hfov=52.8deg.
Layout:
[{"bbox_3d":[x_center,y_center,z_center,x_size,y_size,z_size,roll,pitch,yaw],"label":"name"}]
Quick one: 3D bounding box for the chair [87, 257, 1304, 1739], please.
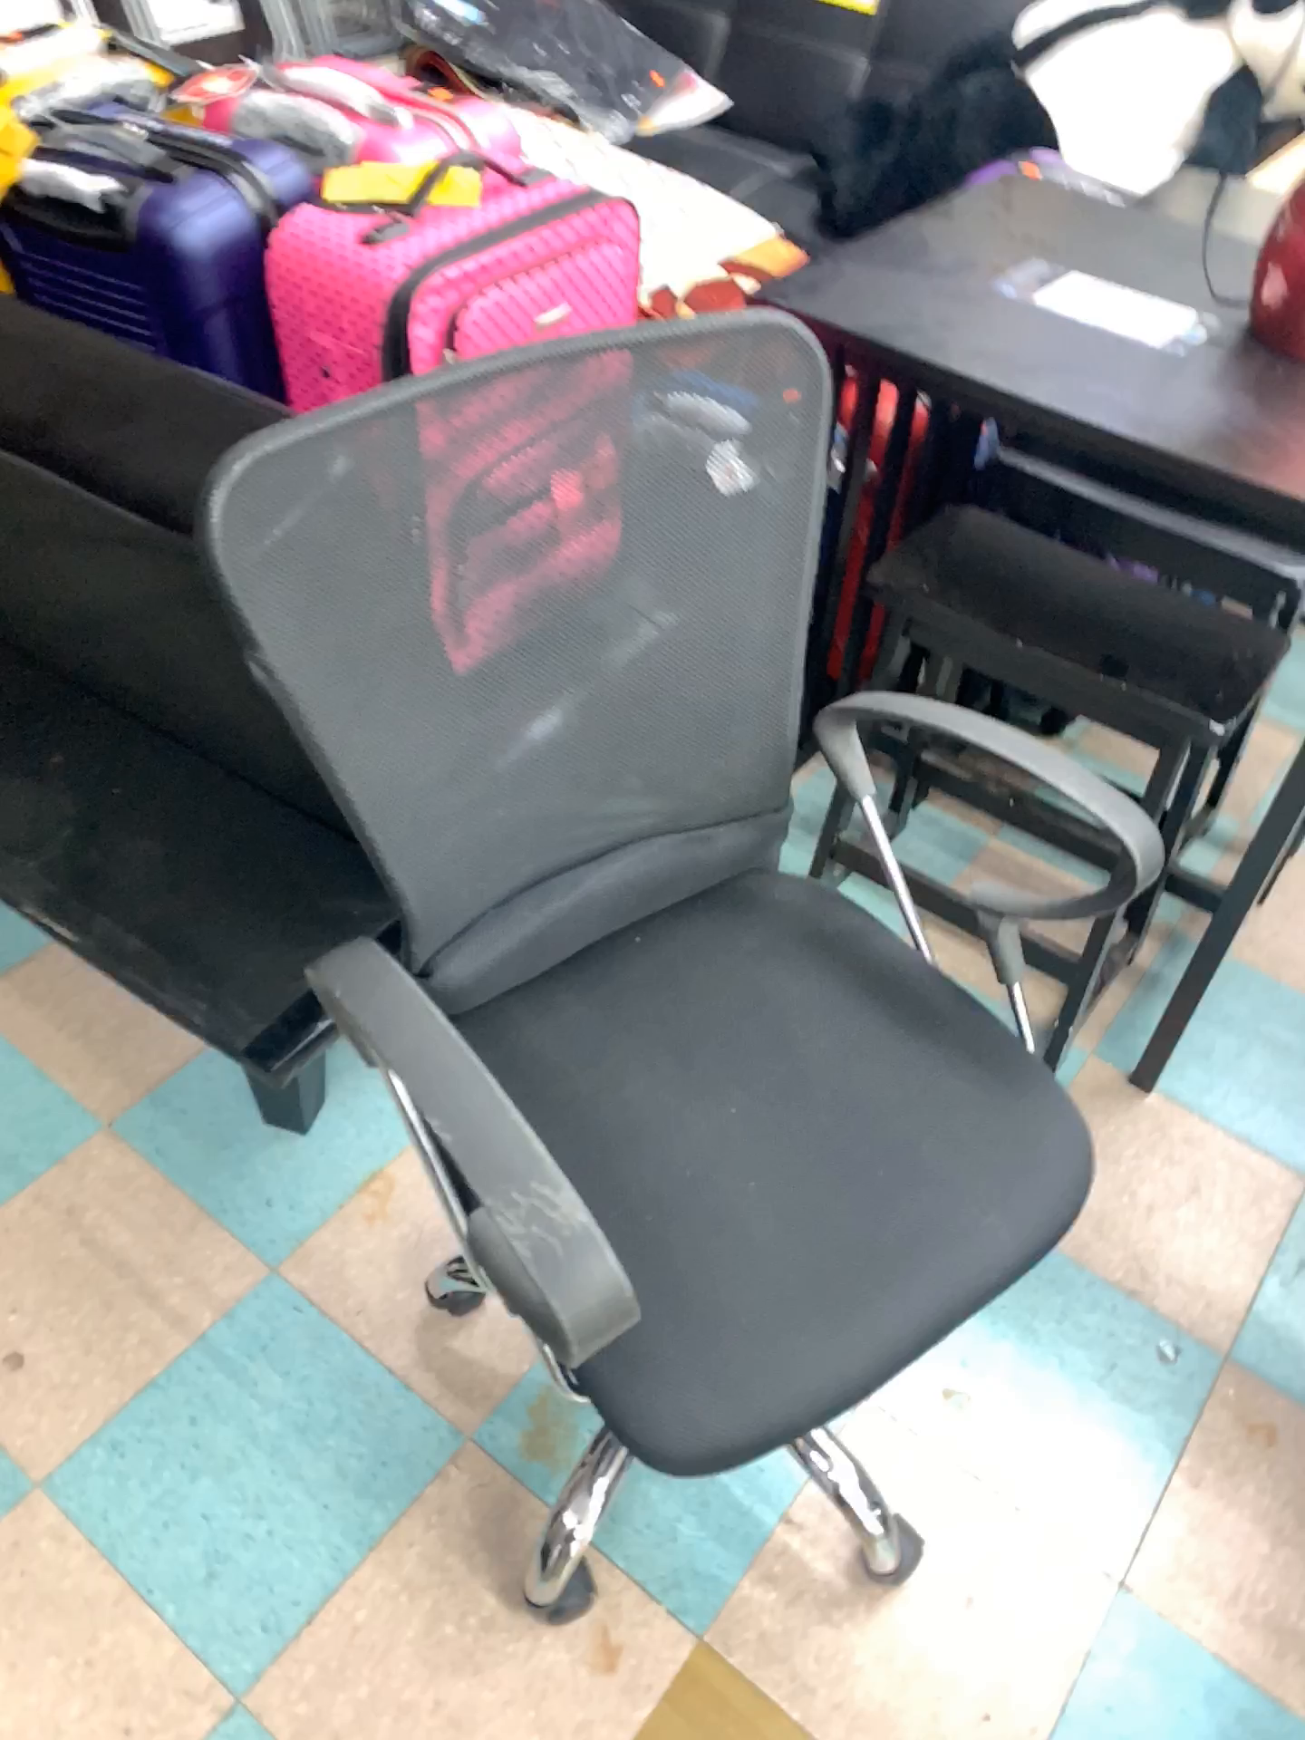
[{"bbox_3d":[0.080,0.186,1.073,0.621,1.020,0.602,-27,53,-28],"label":"chair"}]
